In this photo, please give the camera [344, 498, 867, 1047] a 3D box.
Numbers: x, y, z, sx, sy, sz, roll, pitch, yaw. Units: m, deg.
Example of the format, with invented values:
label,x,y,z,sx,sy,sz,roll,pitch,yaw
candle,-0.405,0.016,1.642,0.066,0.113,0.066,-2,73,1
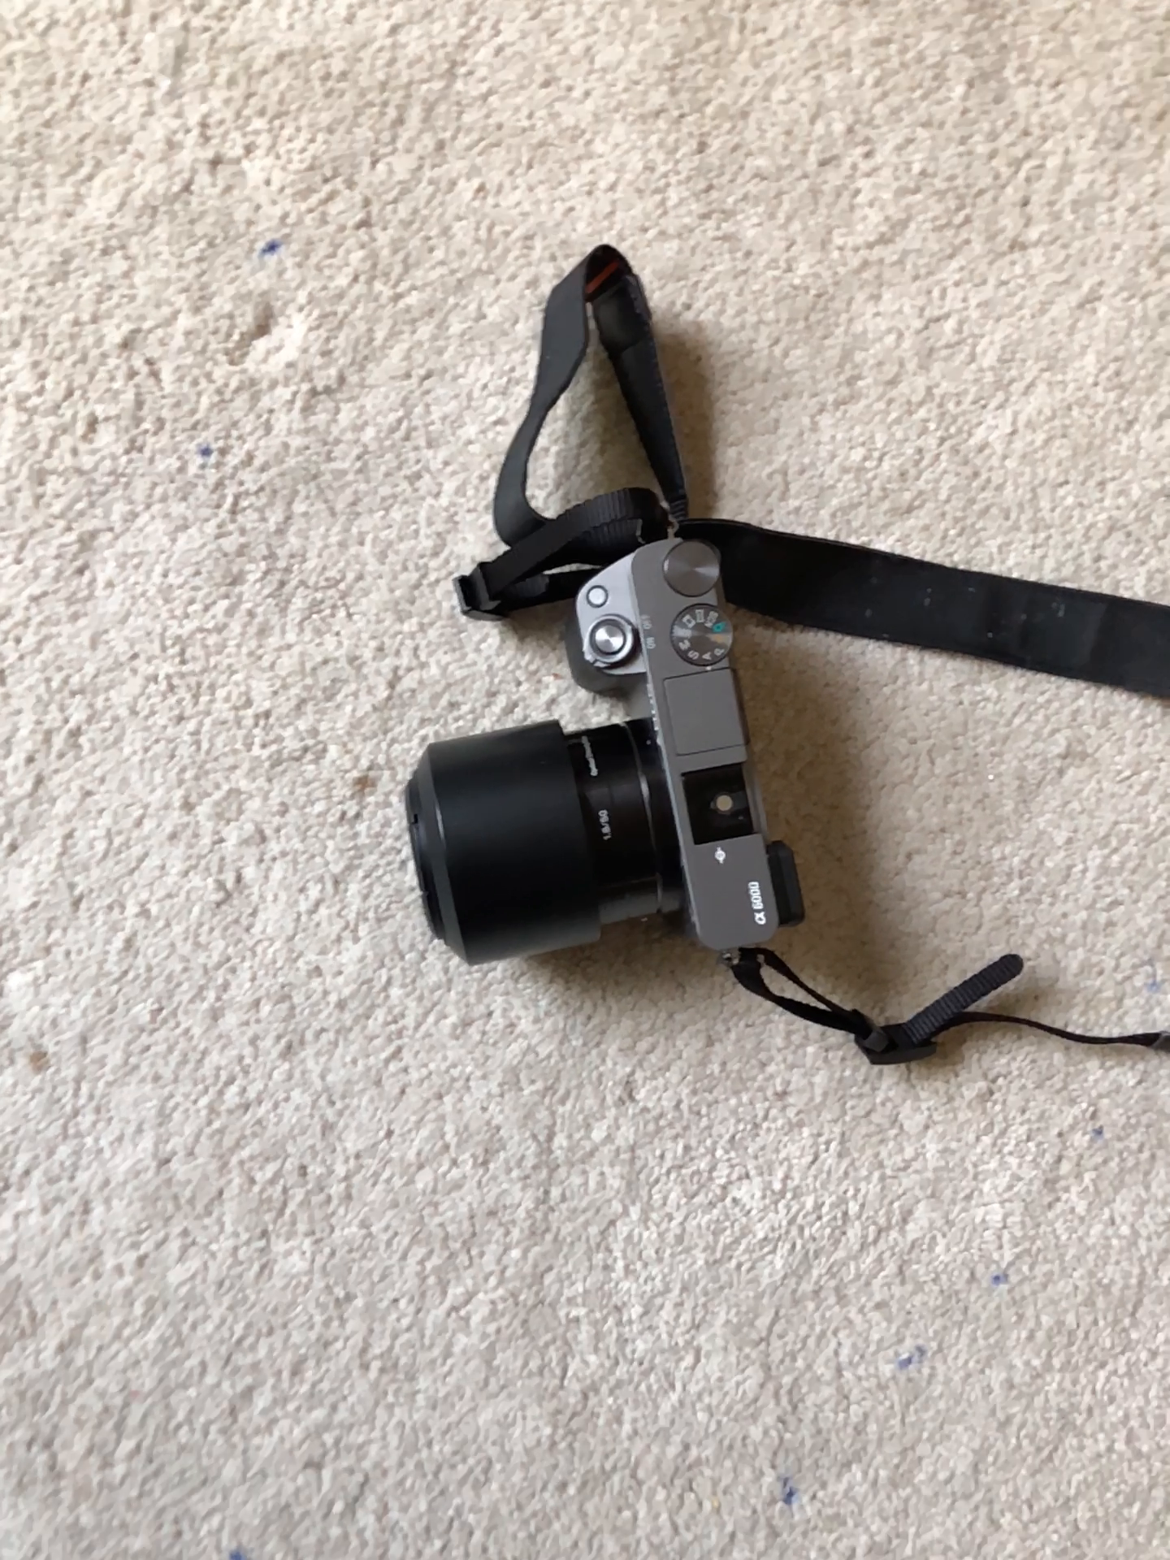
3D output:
label,x,y,z,sx,sy,sz,roll,pitch,yaw
camera,0.003,-0.001,0.392,0.120,0.080,0.130,-11,86,-6
